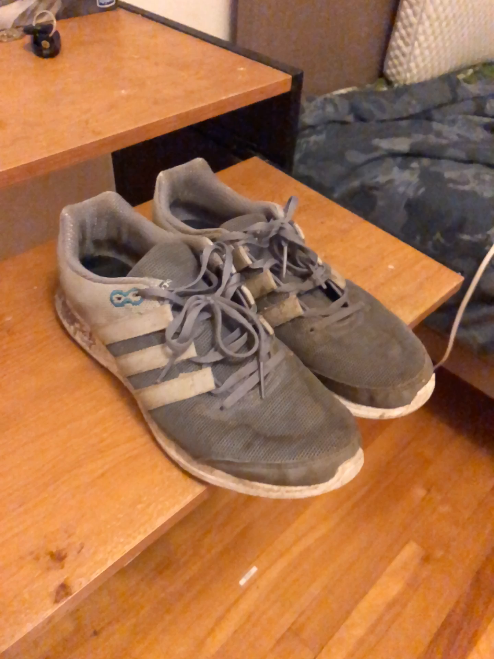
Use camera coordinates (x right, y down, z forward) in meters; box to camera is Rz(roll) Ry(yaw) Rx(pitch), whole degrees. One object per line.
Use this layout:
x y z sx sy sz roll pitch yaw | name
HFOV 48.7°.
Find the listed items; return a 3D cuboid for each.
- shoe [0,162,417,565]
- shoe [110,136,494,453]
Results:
-0.056 -0.002 0.372 0.301 0.089 0.111 33 50 27 | shoe
0.030 -0.047 0.428 0.271 0.089 0.121 34 51 28 | shoe
